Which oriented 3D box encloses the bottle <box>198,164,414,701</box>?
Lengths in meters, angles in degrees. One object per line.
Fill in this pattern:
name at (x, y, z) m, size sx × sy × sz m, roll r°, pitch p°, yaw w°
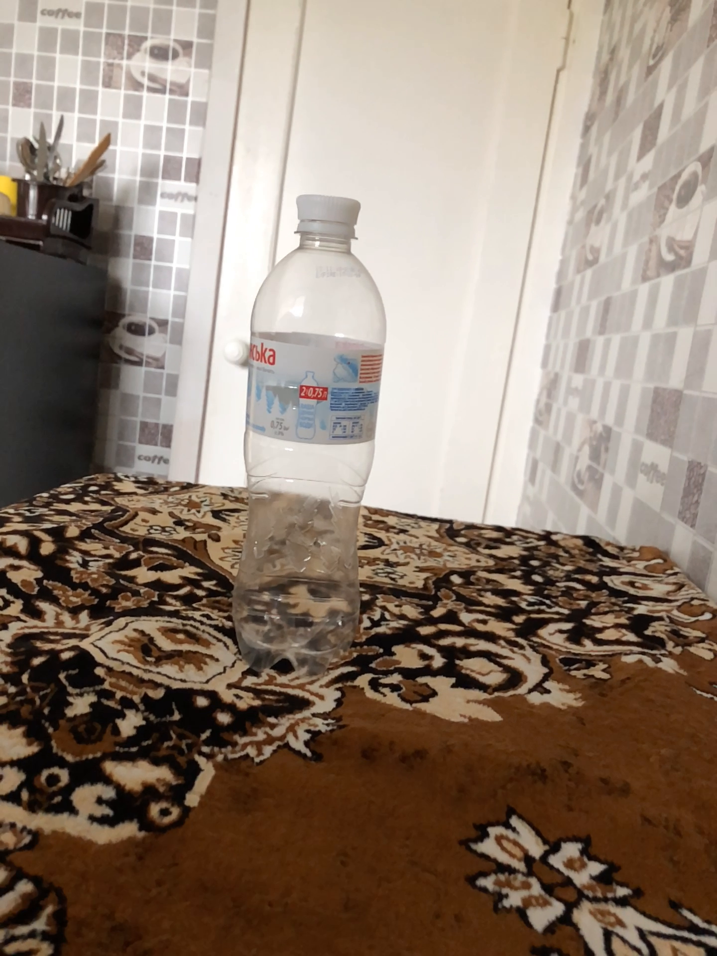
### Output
bottle at (-0.025, -0.023, 0.419) m, size 0.080 × 0.249 × 0.090 m, roll 7°, pitch 11°, yaw 3°
